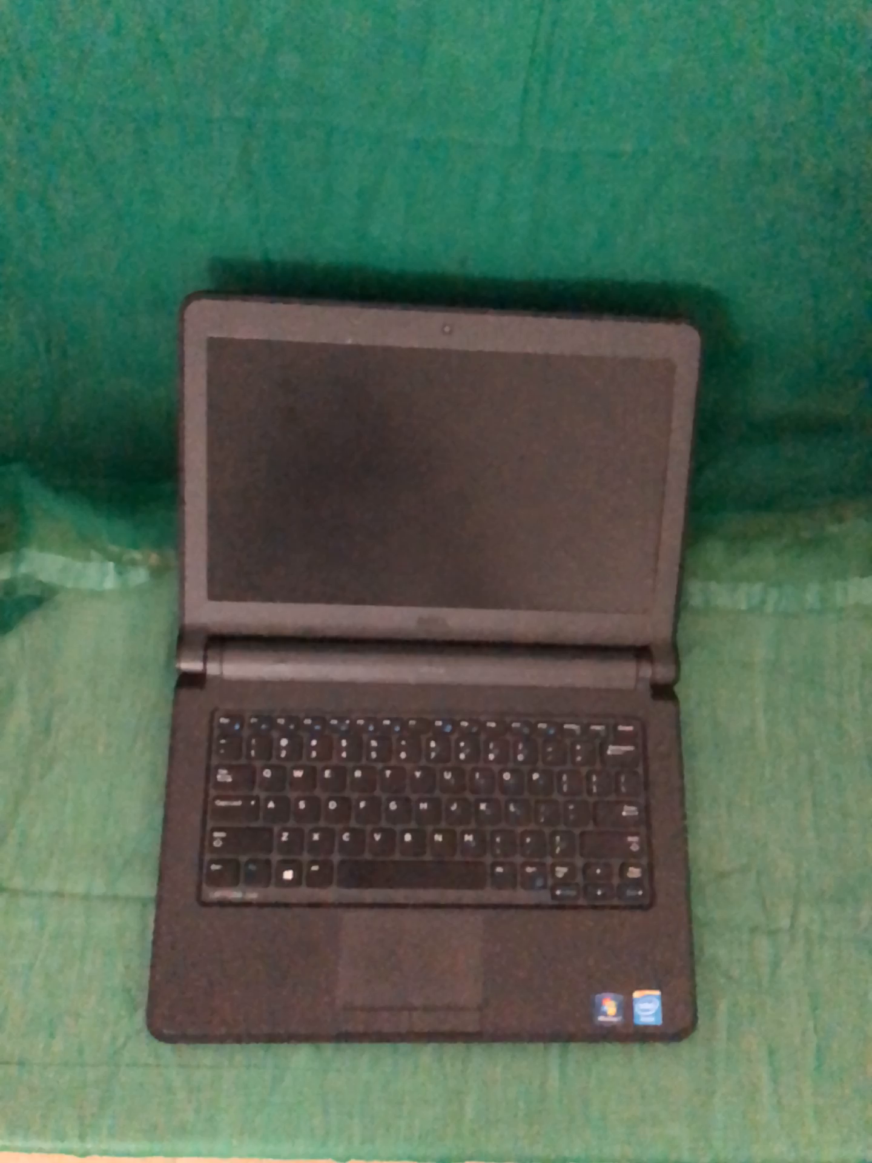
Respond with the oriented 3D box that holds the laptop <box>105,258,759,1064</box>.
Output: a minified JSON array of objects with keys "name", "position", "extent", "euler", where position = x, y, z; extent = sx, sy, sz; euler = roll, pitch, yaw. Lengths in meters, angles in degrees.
[{"name":"laptop","position":[0.002,0.040,0.554],"extent":[0.311,0.096,0.420],"euler":[2,76,-4]}]
